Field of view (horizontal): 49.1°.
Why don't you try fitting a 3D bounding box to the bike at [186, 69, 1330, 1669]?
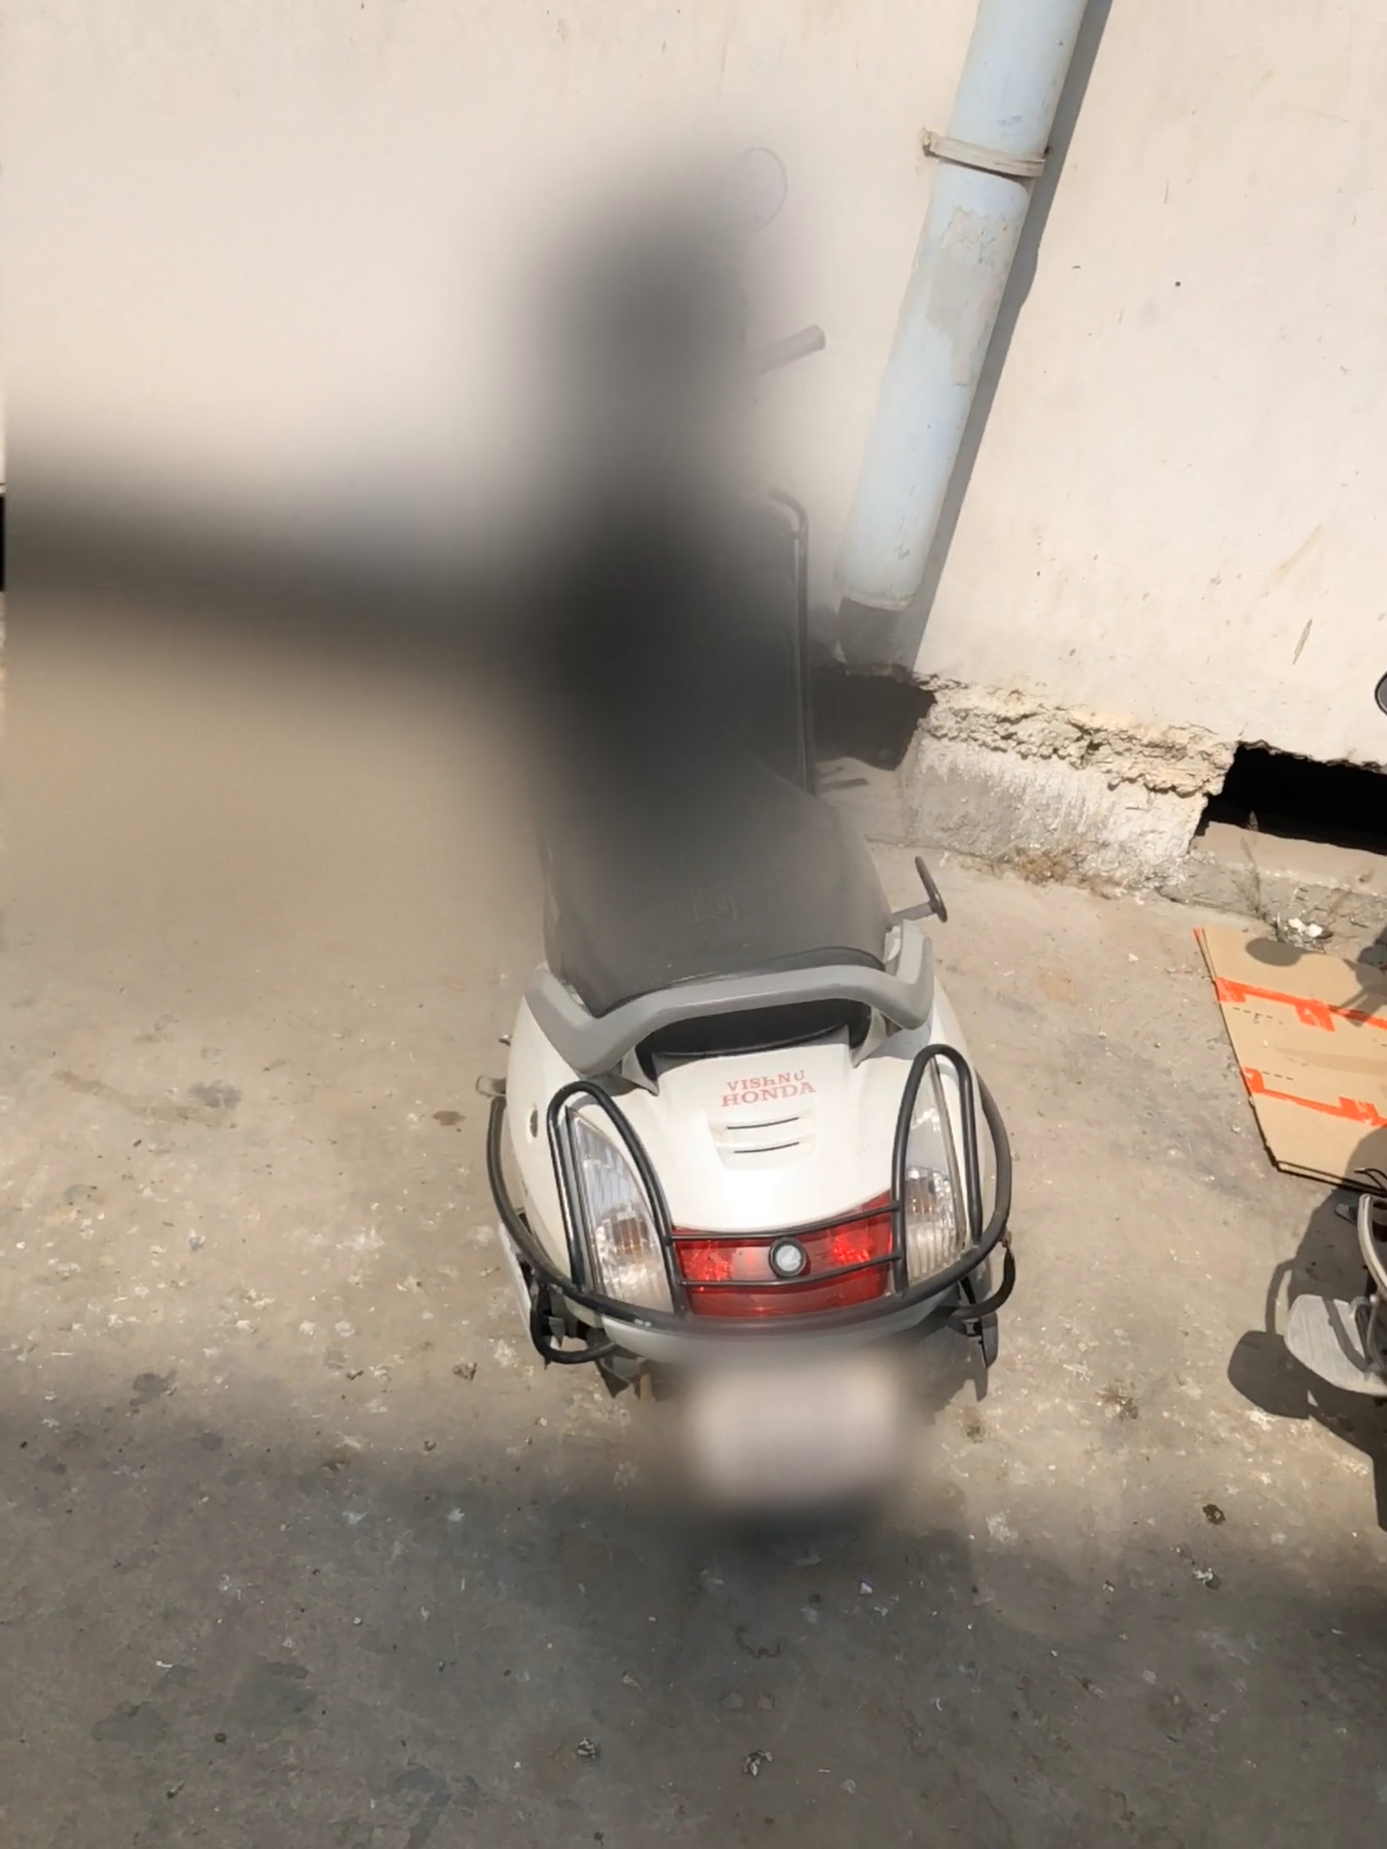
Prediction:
[{"bbox_3d":[-0.177,-0.124,1.752,0.625,1.122,1.306,-1,37,-22],"label":"bike"}]
